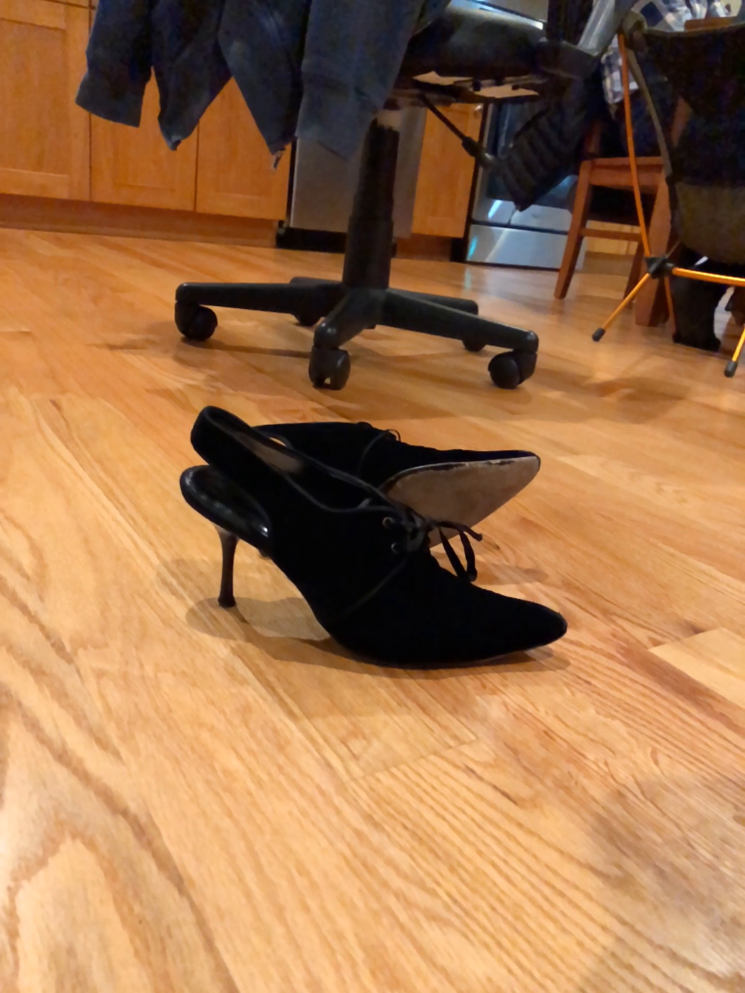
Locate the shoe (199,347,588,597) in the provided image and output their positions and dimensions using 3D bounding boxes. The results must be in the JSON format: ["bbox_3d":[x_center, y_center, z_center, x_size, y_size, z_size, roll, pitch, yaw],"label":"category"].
[{"bbox_3d":[0.018,-0.027,0.597,0.252,0.107,0.118,11,21,10],"label":"shoe"}]

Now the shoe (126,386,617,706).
[{"bbox_3d":[-0.002,0.021,0.487,0.252,0.117,0.108,9,19,5],"label":"shoe"}]
